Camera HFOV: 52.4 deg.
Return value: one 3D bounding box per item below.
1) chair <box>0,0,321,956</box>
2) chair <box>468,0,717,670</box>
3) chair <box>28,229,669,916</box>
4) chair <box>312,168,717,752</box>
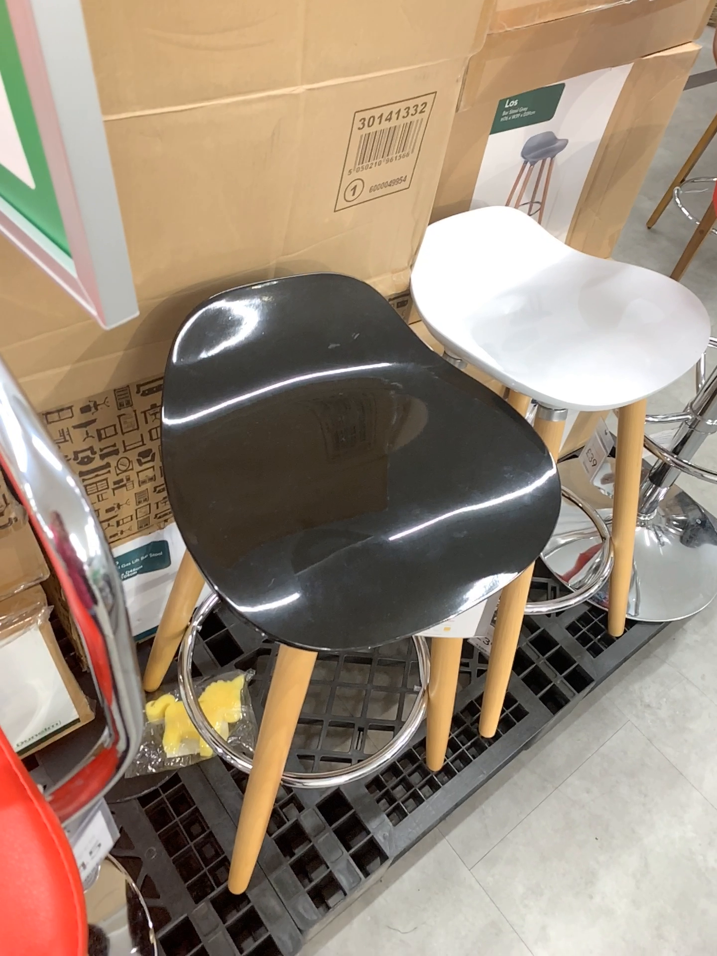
[{"bbox_3d":[-0.417,0.312,0.492,0.551,1.030,0.451,-31,60,-30],"label":"chair"},{"bbox_3d":[0.621,-0.224,1.185,0.511,0.981,0.451,-31,60,-30],"label":"chair"},{"bbox_3d":[-0.058,0.143,0.917,0.430,0.674,0.432,-21,55,-24],"label":"chair"},{"bbox_3d":[0.253,-0.012,1.136,0.410,0.664,0.482,-27,58,-28],"label":"chair"}]
